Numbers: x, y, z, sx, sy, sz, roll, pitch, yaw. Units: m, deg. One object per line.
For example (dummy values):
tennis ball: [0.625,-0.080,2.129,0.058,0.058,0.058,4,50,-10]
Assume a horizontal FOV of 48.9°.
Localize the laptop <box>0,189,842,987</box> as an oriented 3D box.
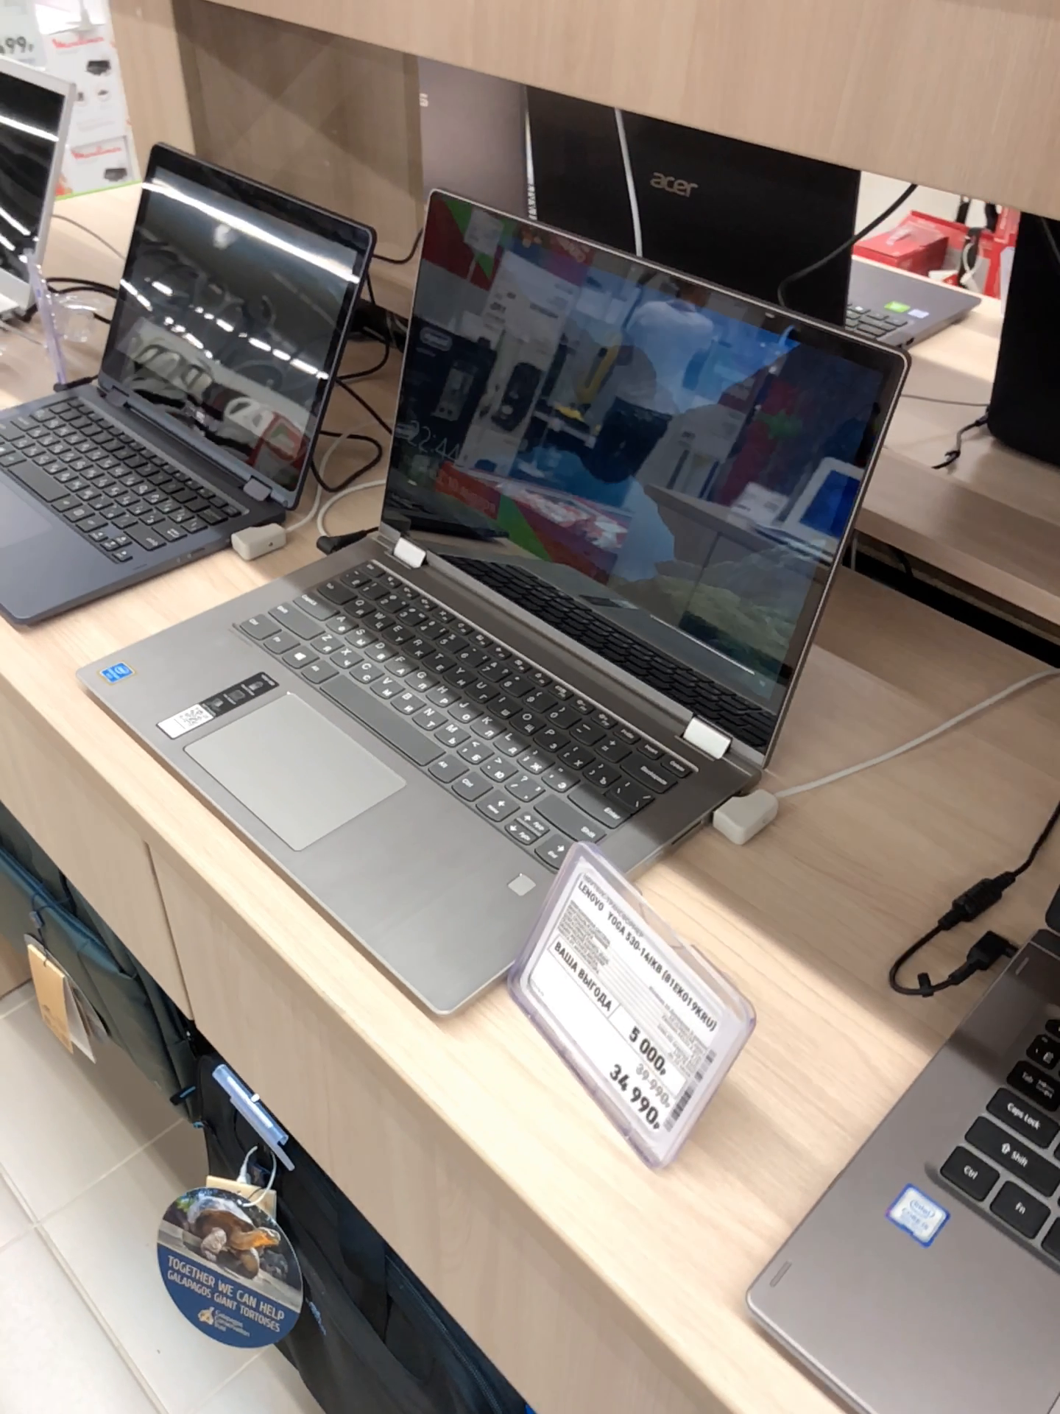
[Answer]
laptop: [-0.068,-0.097,0.605,0.312,0.205,0.287,33,48,32]
